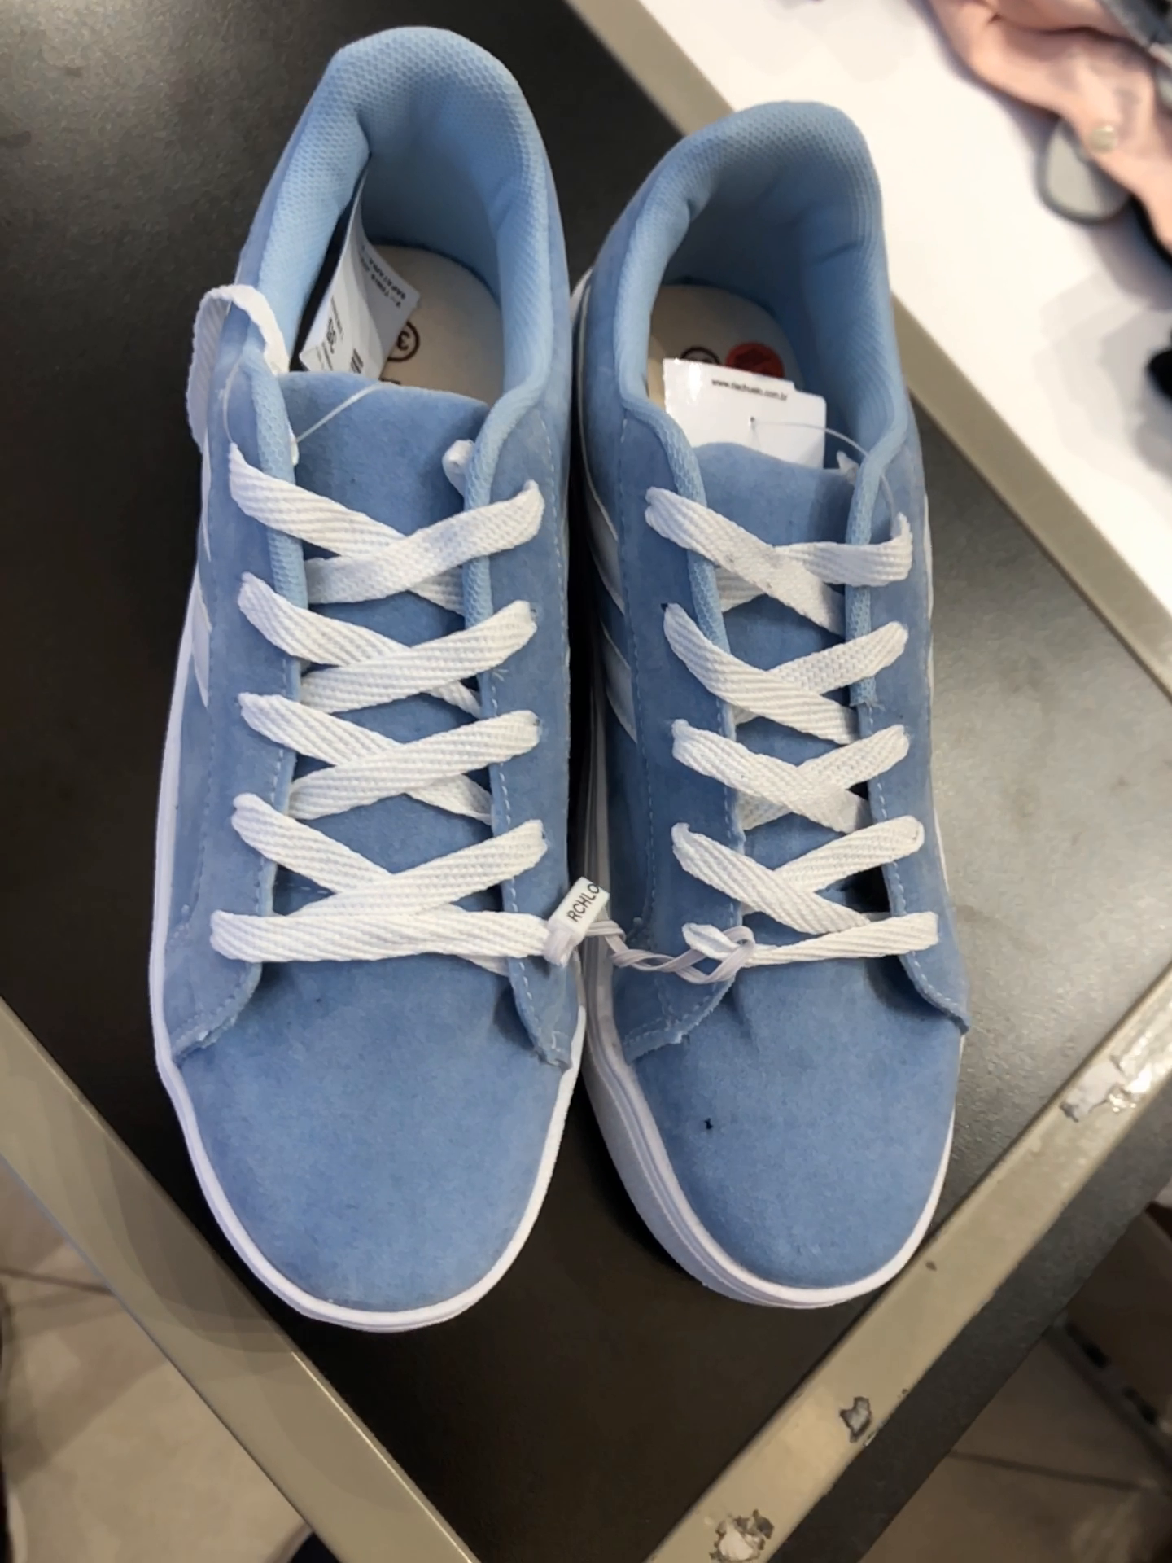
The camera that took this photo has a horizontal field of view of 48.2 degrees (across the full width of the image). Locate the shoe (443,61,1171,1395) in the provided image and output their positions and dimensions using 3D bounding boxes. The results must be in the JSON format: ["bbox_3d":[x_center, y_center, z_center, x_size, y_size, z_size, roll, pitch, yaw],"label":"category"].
[{"bbox_3d":[0.031,-0.010,0.296,0.100,0.120,0.240,-2,77,-13],"label":"shoe"}]

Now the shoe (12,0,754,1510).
[{"bbox_3d":[-0.041,-0.010,0.262,0.100,0.120,0.240,1,77,-13],"label":"shoe"}]
